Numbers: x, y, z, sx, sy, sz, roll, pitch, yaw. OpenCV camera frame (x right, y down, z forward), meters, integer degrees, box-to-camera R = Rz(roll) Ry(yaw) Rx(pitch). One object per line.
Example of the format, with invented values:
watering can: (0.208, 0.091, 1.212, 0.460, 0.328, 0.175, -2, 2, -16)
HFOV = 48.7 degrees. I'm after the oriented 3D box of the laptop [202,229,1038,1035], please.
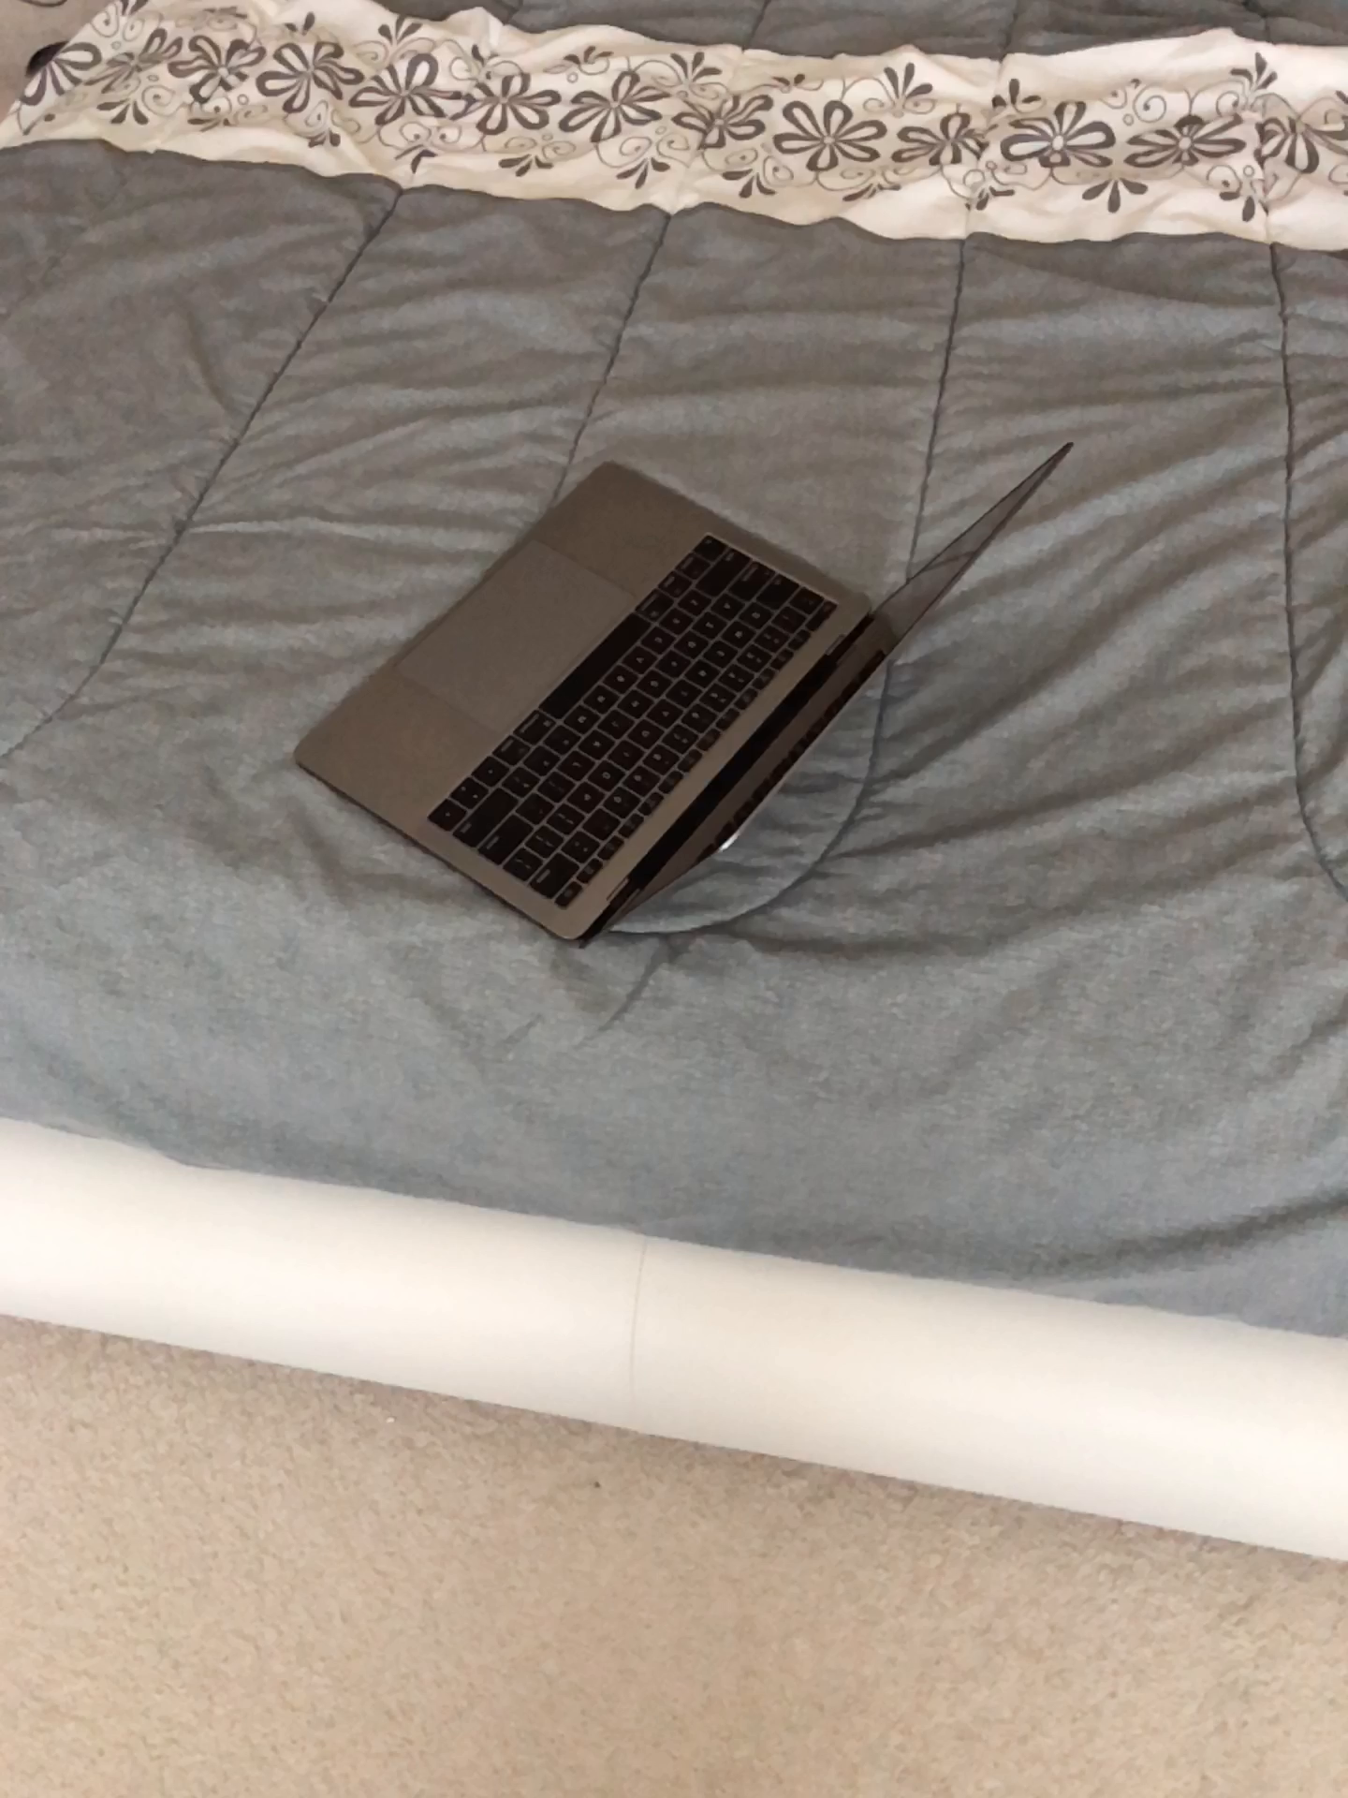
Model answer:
laptop: (-0.017, -0.147, 0.763, 0.281, 0.159, 0.280, 32, 64, 19)
